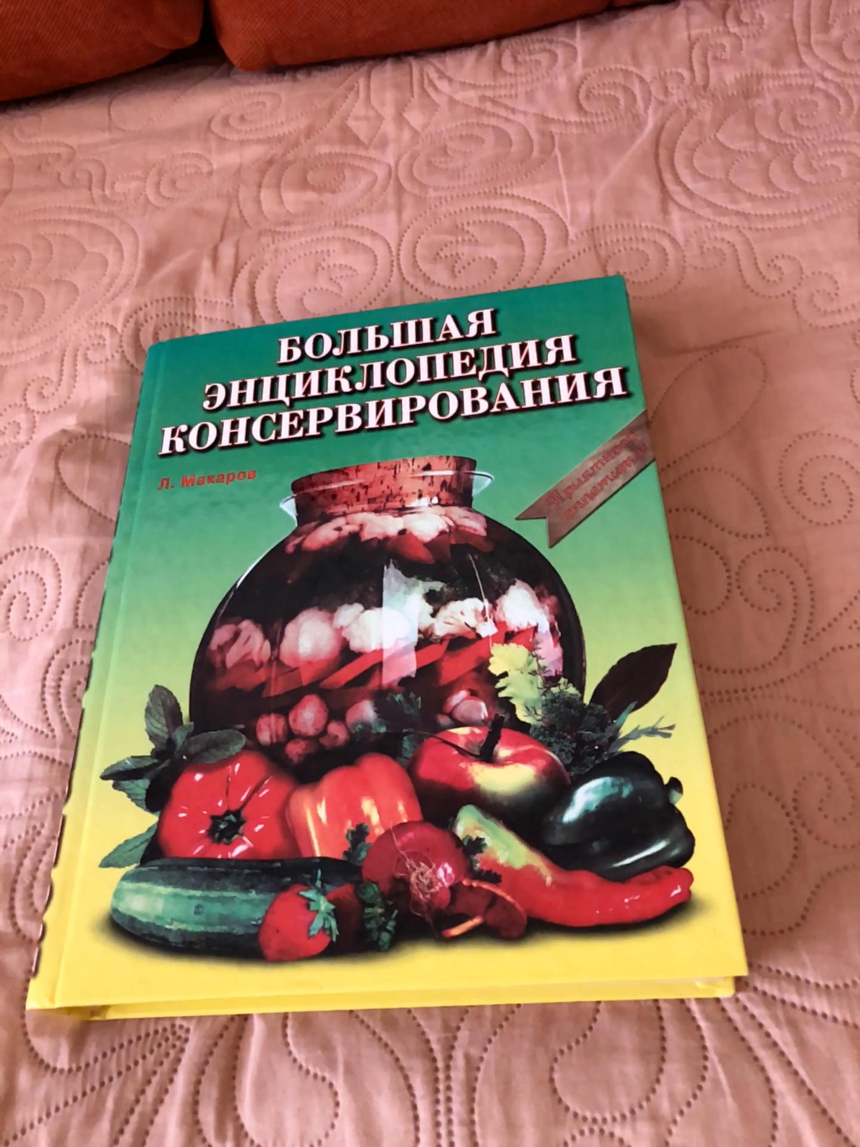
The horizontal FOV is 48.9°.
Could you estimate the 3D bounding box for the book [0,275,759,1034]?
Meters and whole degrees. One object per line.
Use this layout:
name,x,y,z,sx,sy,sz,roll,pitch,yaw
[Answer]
book,-0.020,0.014,0.355,0.216,0.050,0.273,-6,57,7
